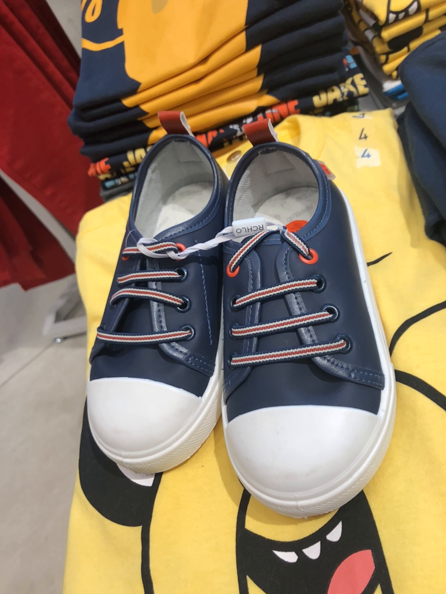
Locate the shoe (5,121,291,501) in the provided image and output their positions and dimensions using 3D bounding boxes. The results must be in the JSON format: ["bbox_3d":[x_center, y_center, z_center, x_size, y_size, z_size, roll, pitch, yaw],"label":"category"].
[{"bbox_3d":[-0.024,0.005,0.246,0.080,0.070,0.161,0,64,24],"label":"shoe"}]

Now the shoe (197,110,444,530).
[{"bbox_3d":[0.043,0.011,0.230,0.080,0.070,0.171,-8,61,19],"label":"shoe"}]
